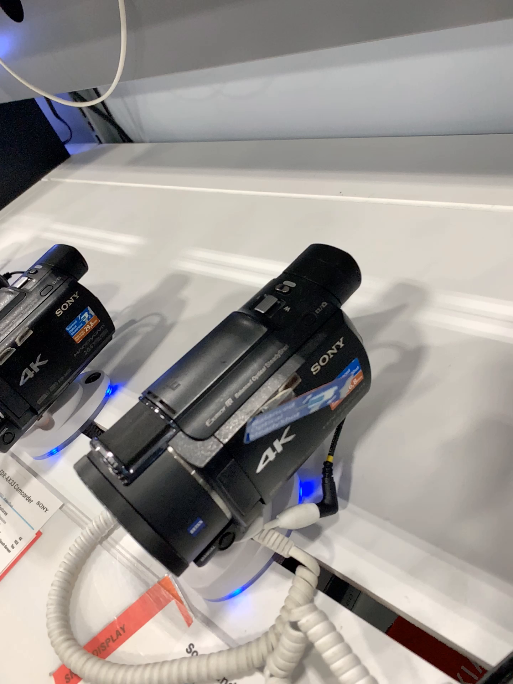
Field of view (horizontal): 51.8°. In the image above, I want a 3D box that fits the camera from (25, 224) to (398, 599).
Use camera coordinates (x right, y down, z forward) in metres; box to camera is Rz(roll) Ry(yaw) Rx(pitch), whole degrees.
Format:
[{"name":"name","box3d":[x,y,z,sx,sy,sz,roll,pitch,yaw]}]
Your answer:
[{"name":"camera","box3d":[-0.014,0.024,0.250,0.151,0.071,0.070,-44,43,-18]}]
